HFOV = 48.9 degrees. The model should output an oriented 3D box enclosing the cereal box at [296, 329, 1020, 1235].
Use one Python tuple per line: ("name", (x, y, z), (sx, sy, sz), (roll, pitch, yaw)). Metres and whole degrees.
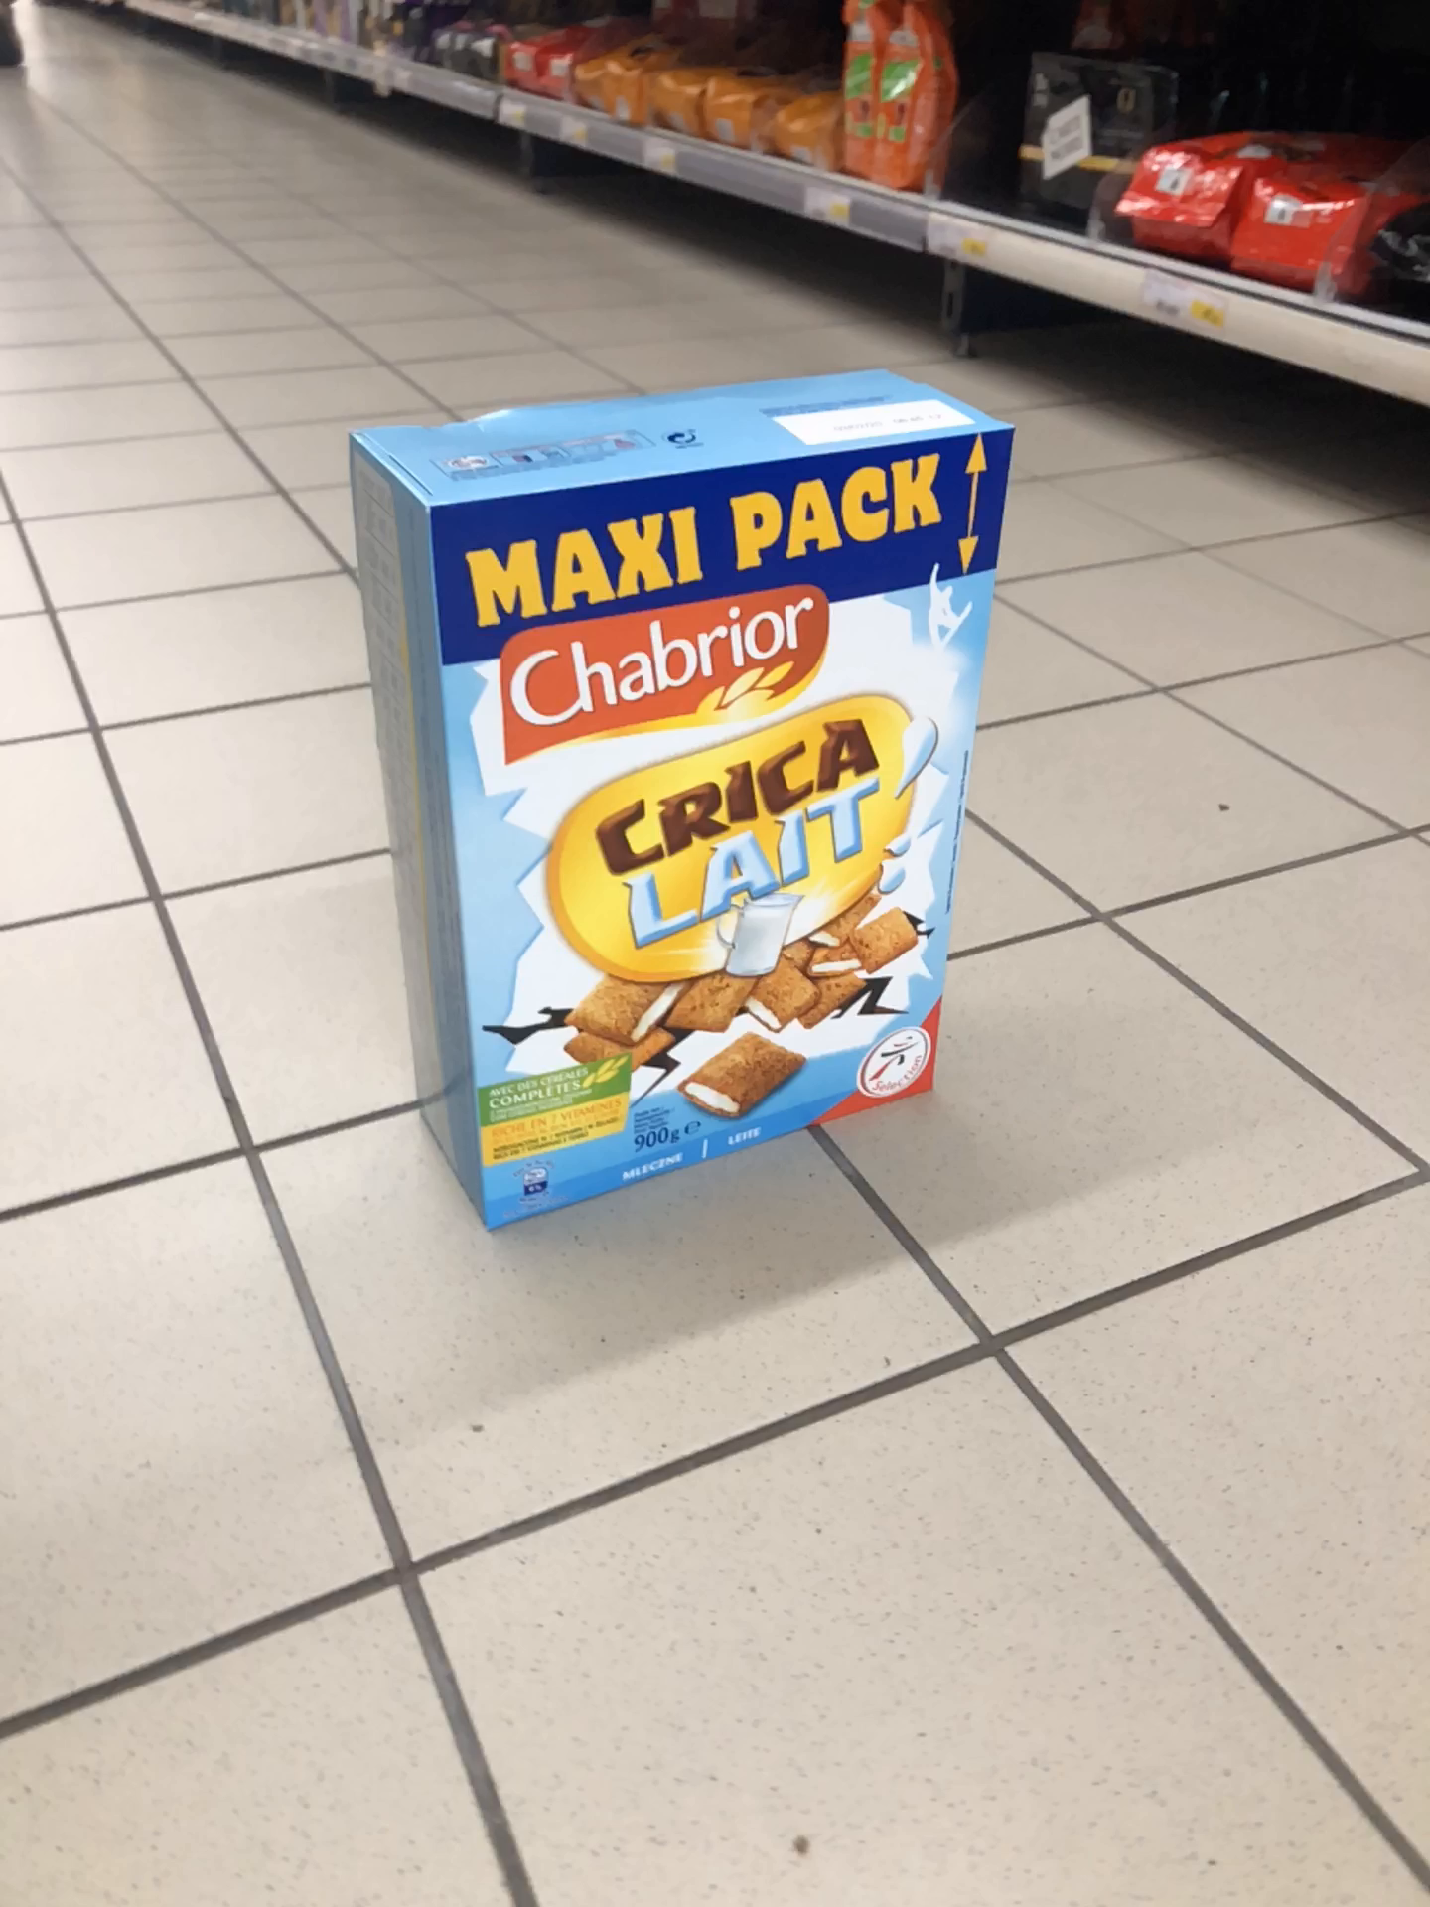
("cereal box", (-0.018, -0.059, 0.550), (0.201, 0.268, 0.090), (-14, 36, -22))
